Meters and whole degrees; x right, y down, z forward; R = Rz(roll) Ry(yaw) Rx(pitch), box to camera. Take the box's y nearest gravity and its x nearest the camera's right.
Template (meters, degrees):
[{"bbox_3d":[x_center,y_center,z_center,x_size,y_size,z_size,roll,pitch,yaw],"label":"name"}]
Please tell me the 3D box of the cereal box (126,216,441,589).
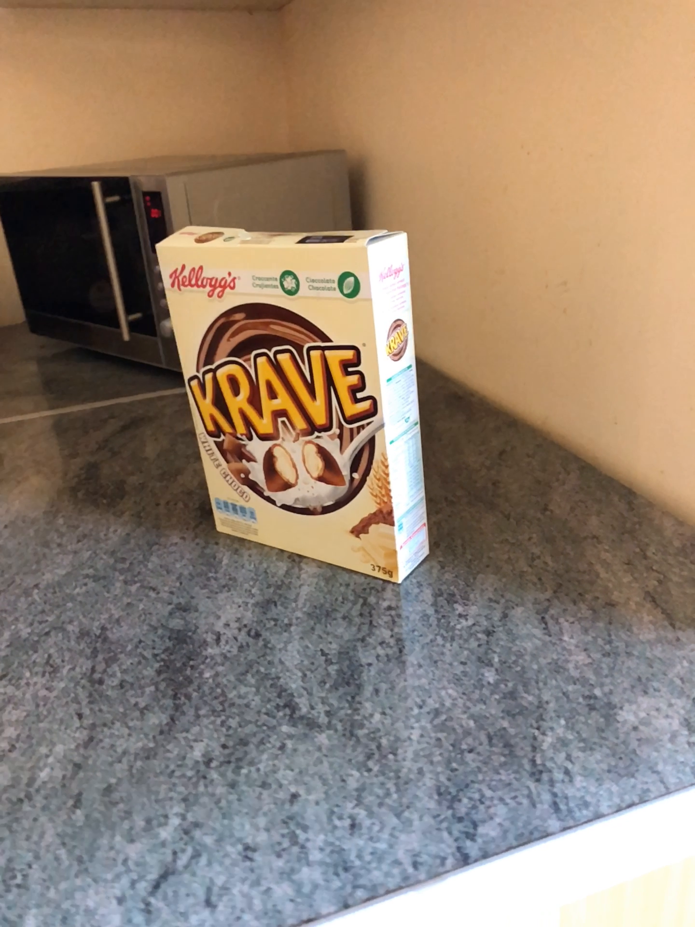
[{"bbox_3d":[-0.043,-0.052,0.585,0.210,0.249,0.070,12,32,31],"label":"cereal box"}]
